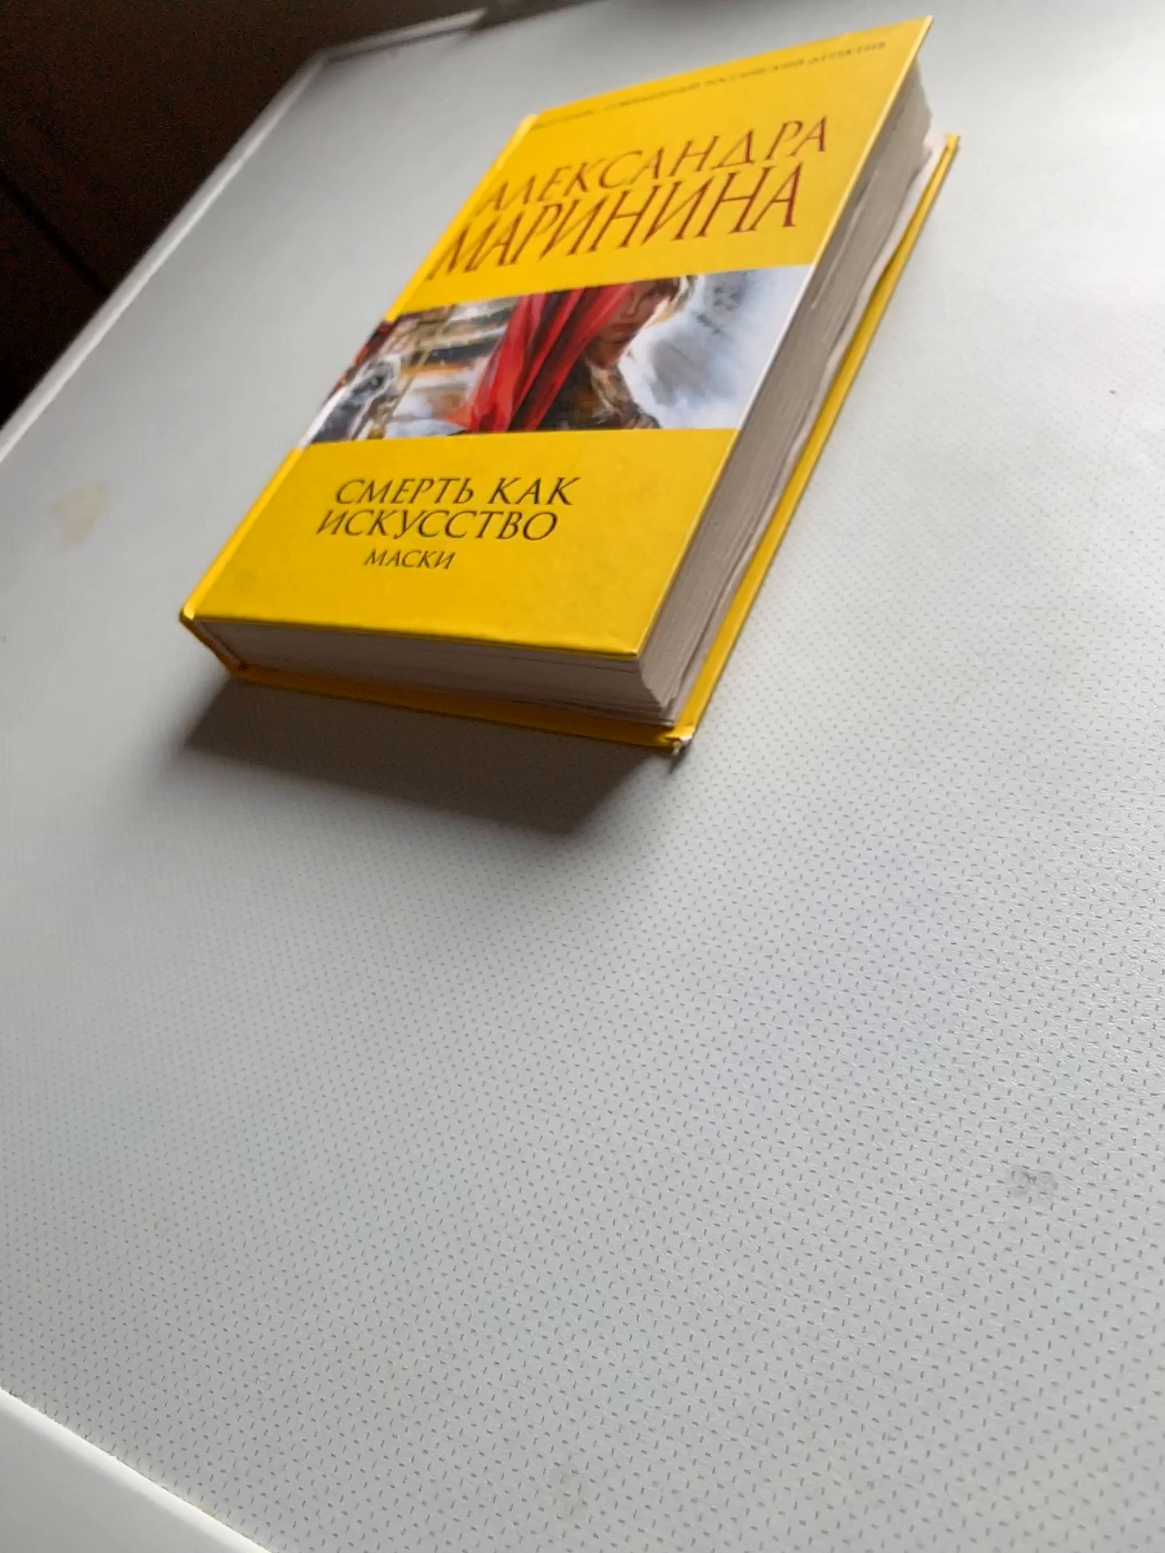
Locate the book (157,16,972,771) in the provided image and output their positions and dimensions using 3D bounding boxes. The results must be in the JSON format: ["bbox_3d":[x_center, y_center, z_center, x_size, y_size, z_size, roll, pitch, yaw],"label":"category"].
[{"bbox_3d":[0.002,-0.094,0.279,0.120,0.030,0.189,9,60,33],"label":"book"}]
